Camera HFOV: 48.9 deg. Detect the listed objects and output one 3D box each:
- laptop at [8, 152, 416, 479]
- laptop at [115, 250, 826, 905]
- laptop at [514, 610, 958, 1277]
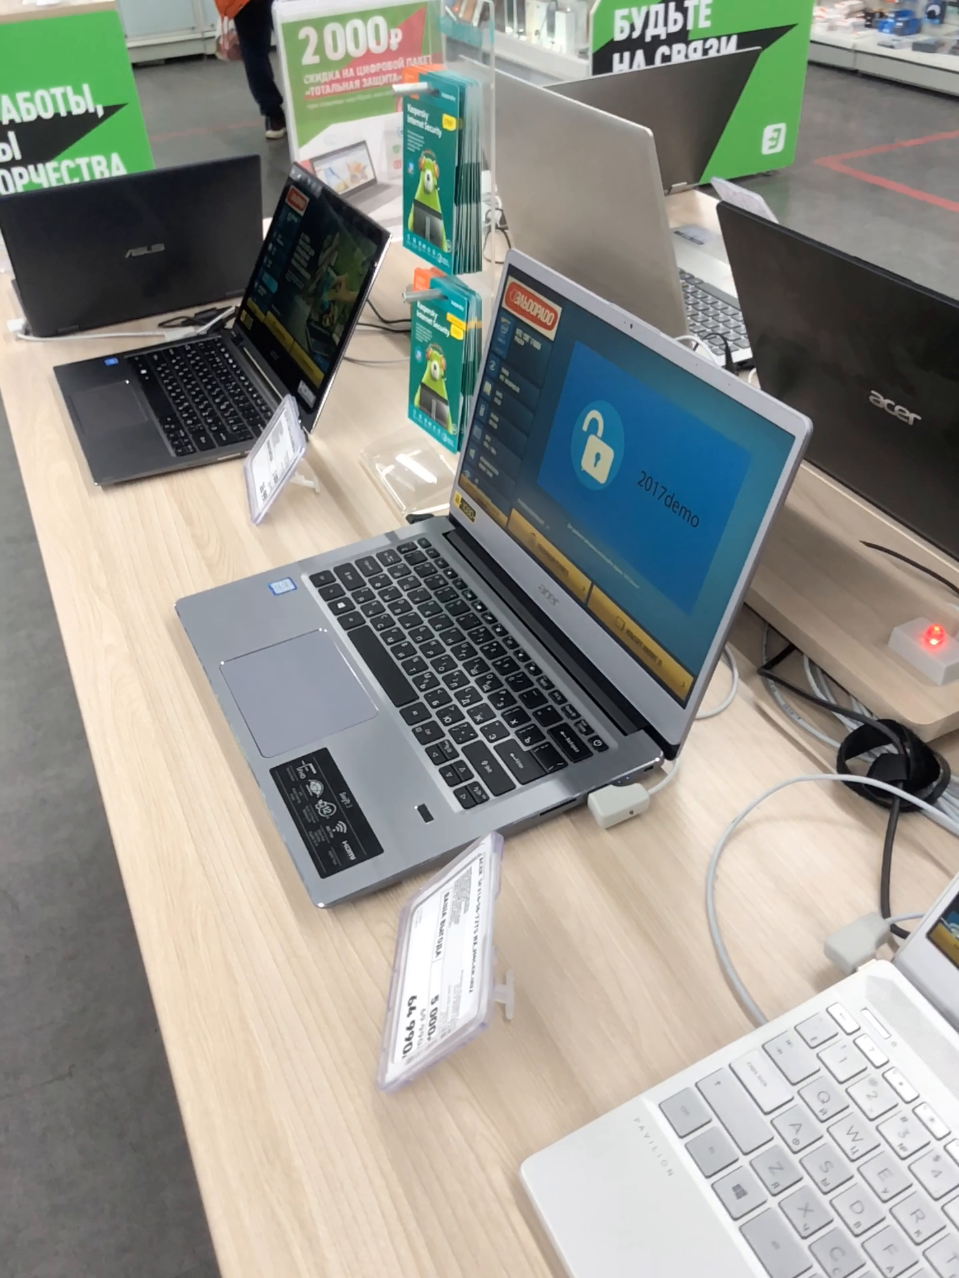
[{"bbox_3d":[-0.269,-0.336,1.049,0.311,0.159,0.280,-20,41,-15],"label":"laptop"},{"bbox_3d":[-0.023,-0.069,0.671,0.302,0.197,0.316,-21,41,-18],"label":"laptop"},{"bbox_3d":[0.226,0.192,0.341,0.322,0.164,0.306,-21,41,-16],"label":"laptop"}]
